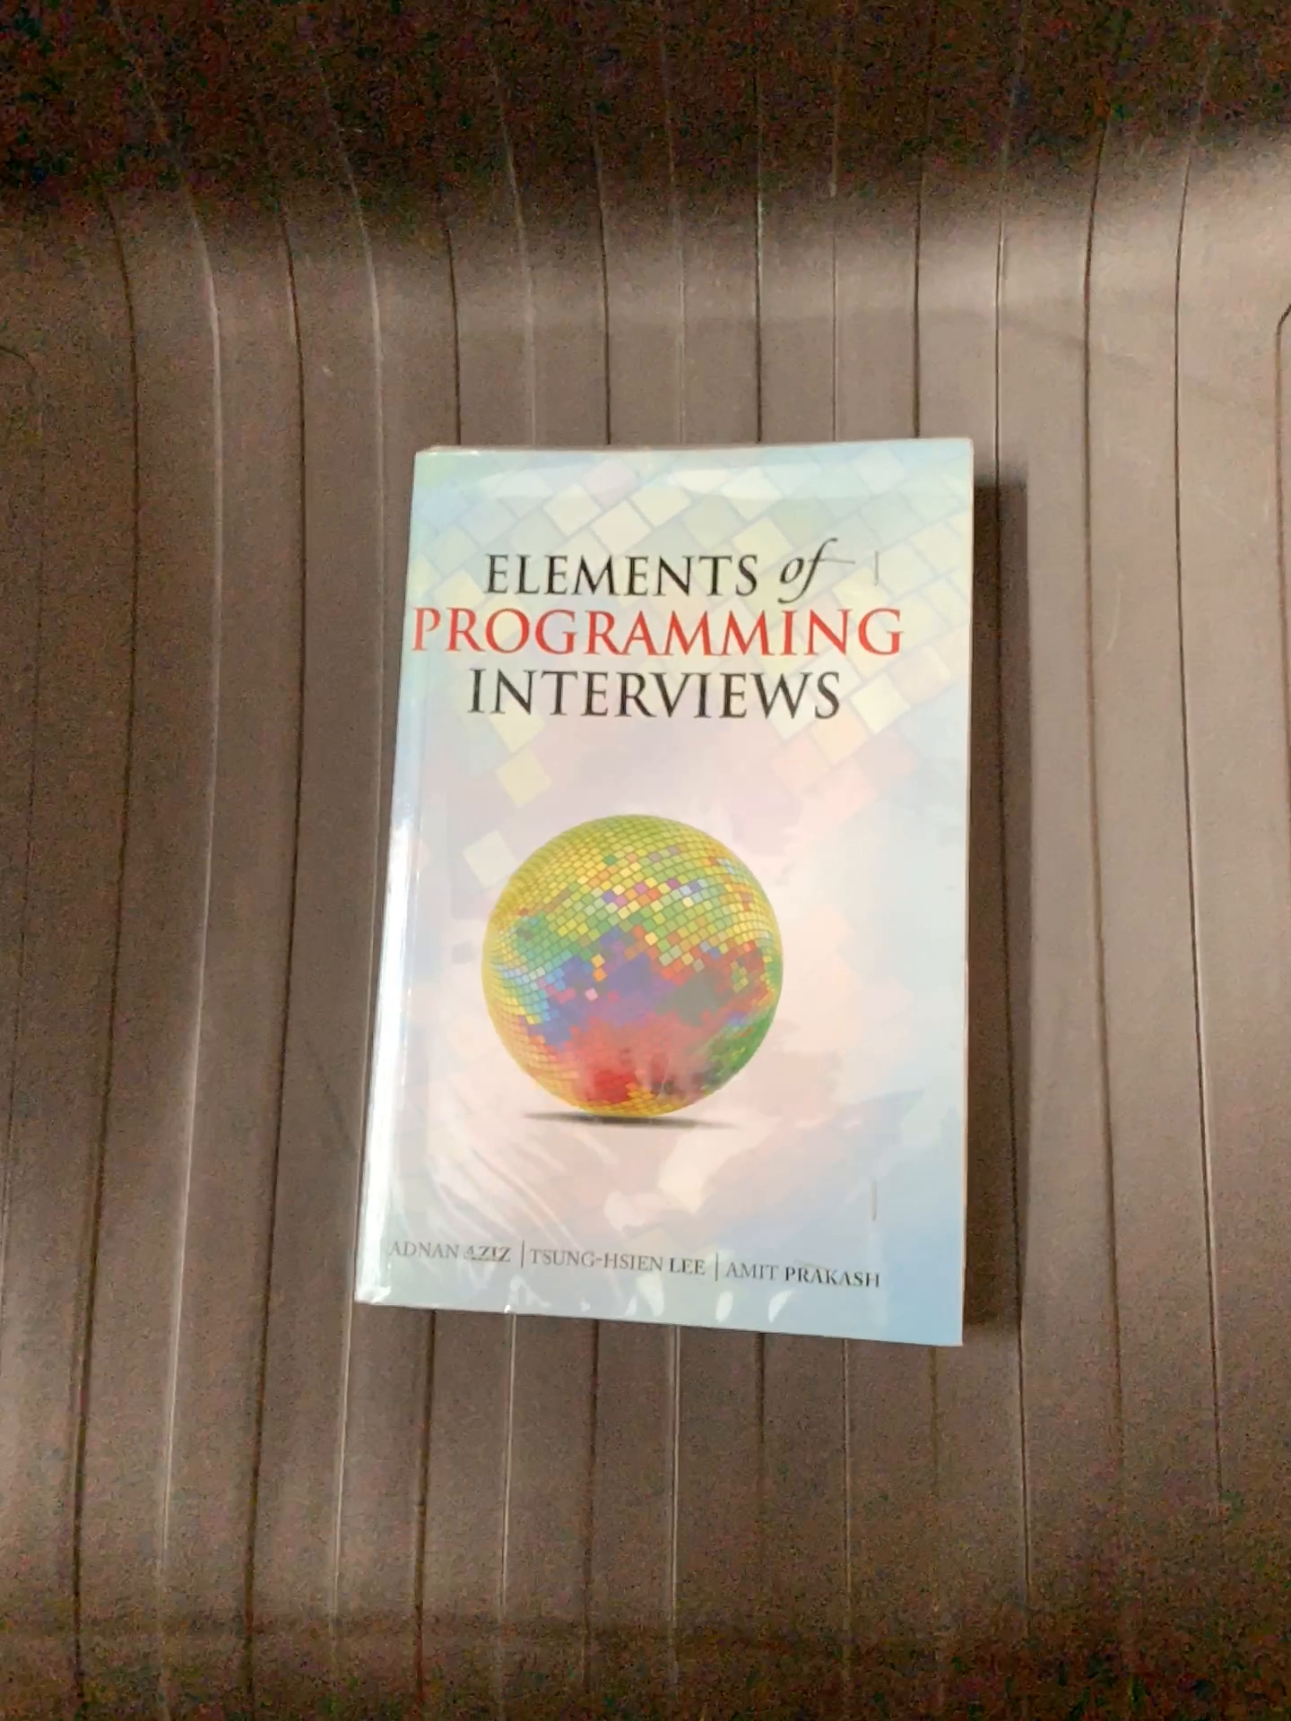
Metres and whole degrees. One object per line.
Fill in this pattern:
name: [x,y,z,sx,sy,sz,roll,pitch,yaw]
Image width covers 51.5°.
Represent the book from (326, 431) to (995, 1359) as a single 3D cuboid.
book: [0.008,0.004,0.363,0.160,0.050,0.230,2,82,7]
